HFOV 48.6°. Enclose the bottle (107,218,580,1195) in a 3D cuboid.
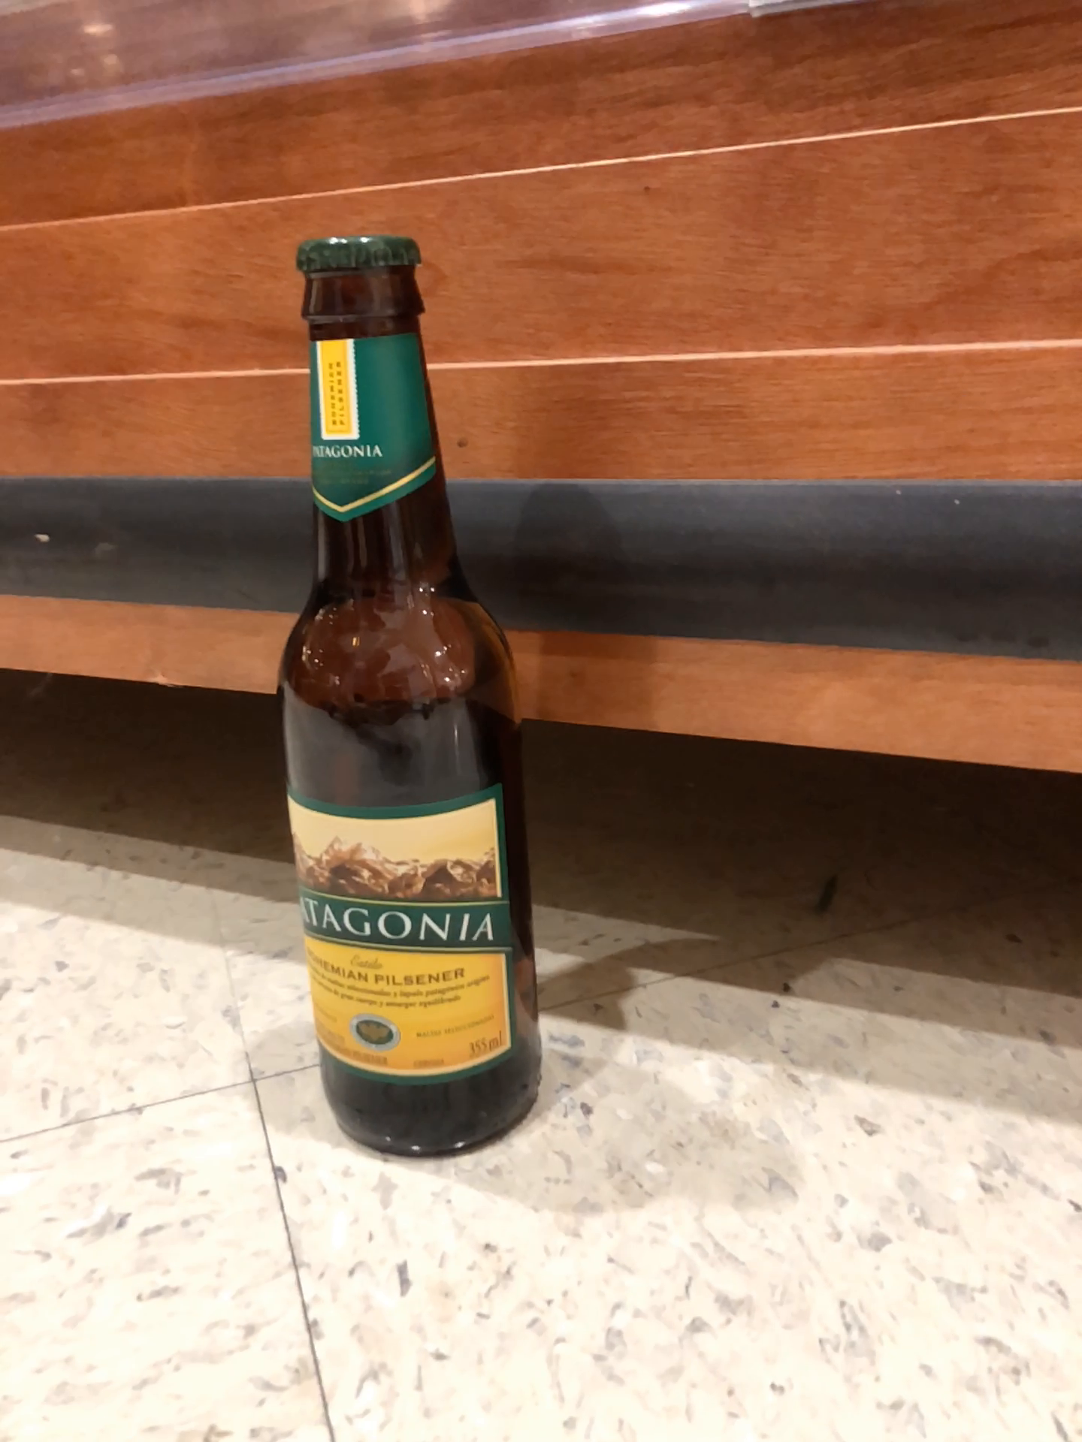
[{"bbox_3d":[-0.040,-0.002,0.296,0.070,0.219,0.060,5,20,26],"label":"bottle"}]
